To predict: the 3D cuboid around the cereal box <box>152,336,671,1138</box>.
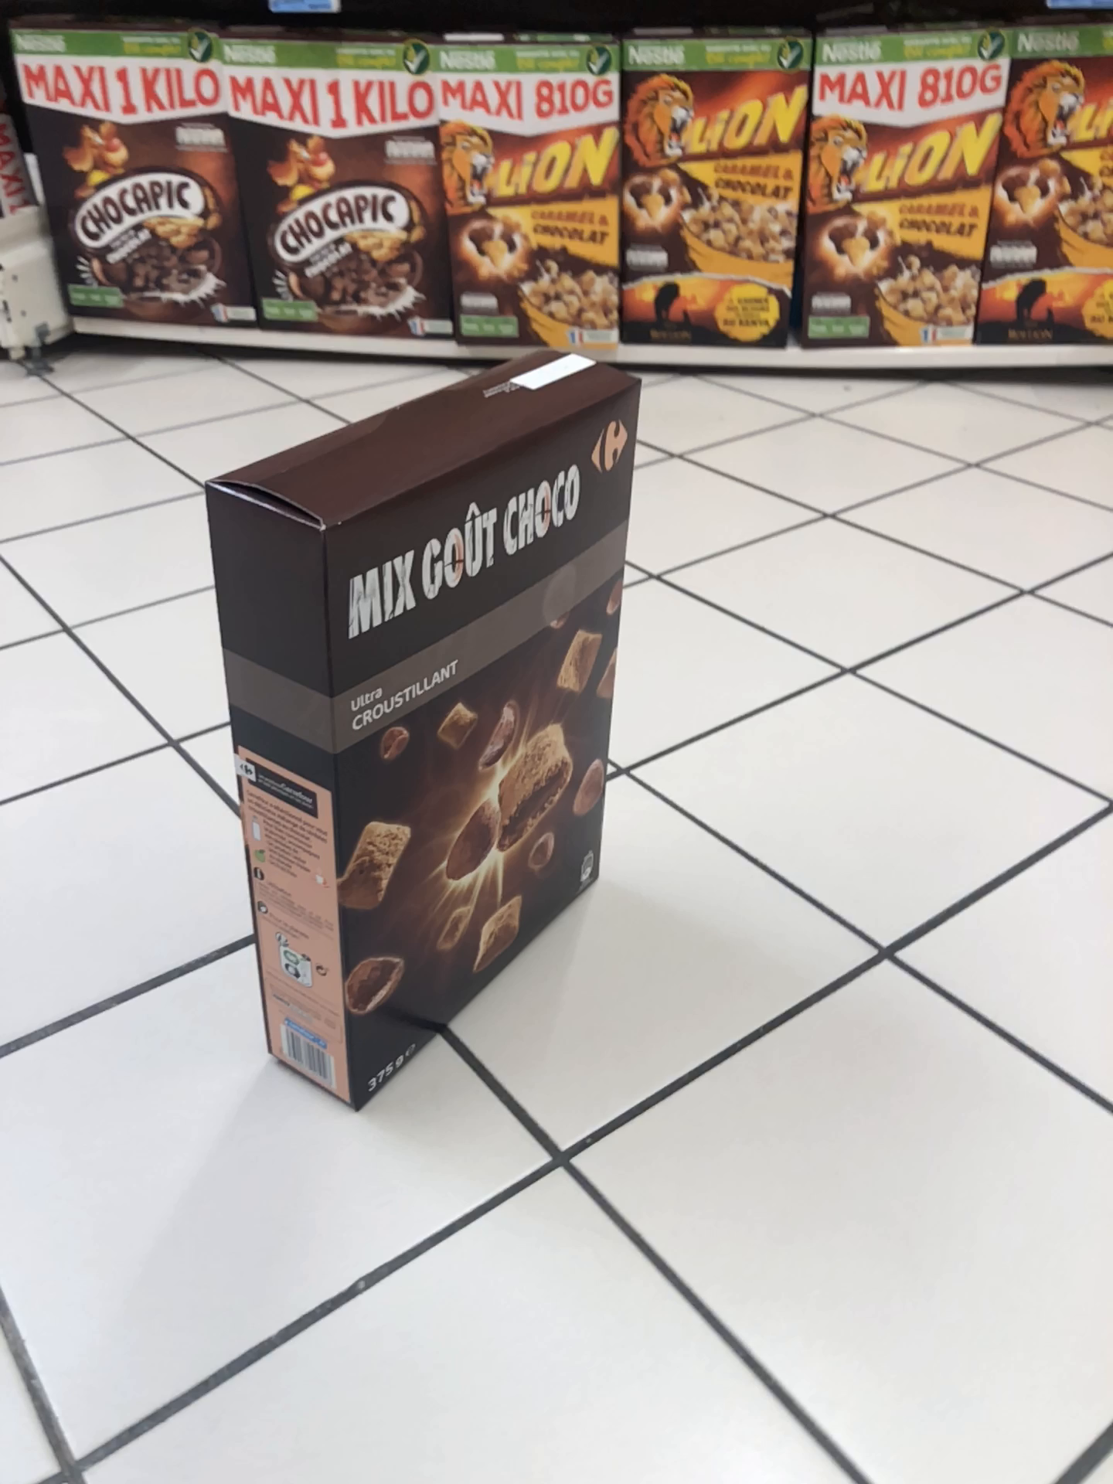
[{"bbox_3d":[-0.046,-0.007,0.520,0.080,0.268,0.201,21,38,26],"label":"cereal box"}]
